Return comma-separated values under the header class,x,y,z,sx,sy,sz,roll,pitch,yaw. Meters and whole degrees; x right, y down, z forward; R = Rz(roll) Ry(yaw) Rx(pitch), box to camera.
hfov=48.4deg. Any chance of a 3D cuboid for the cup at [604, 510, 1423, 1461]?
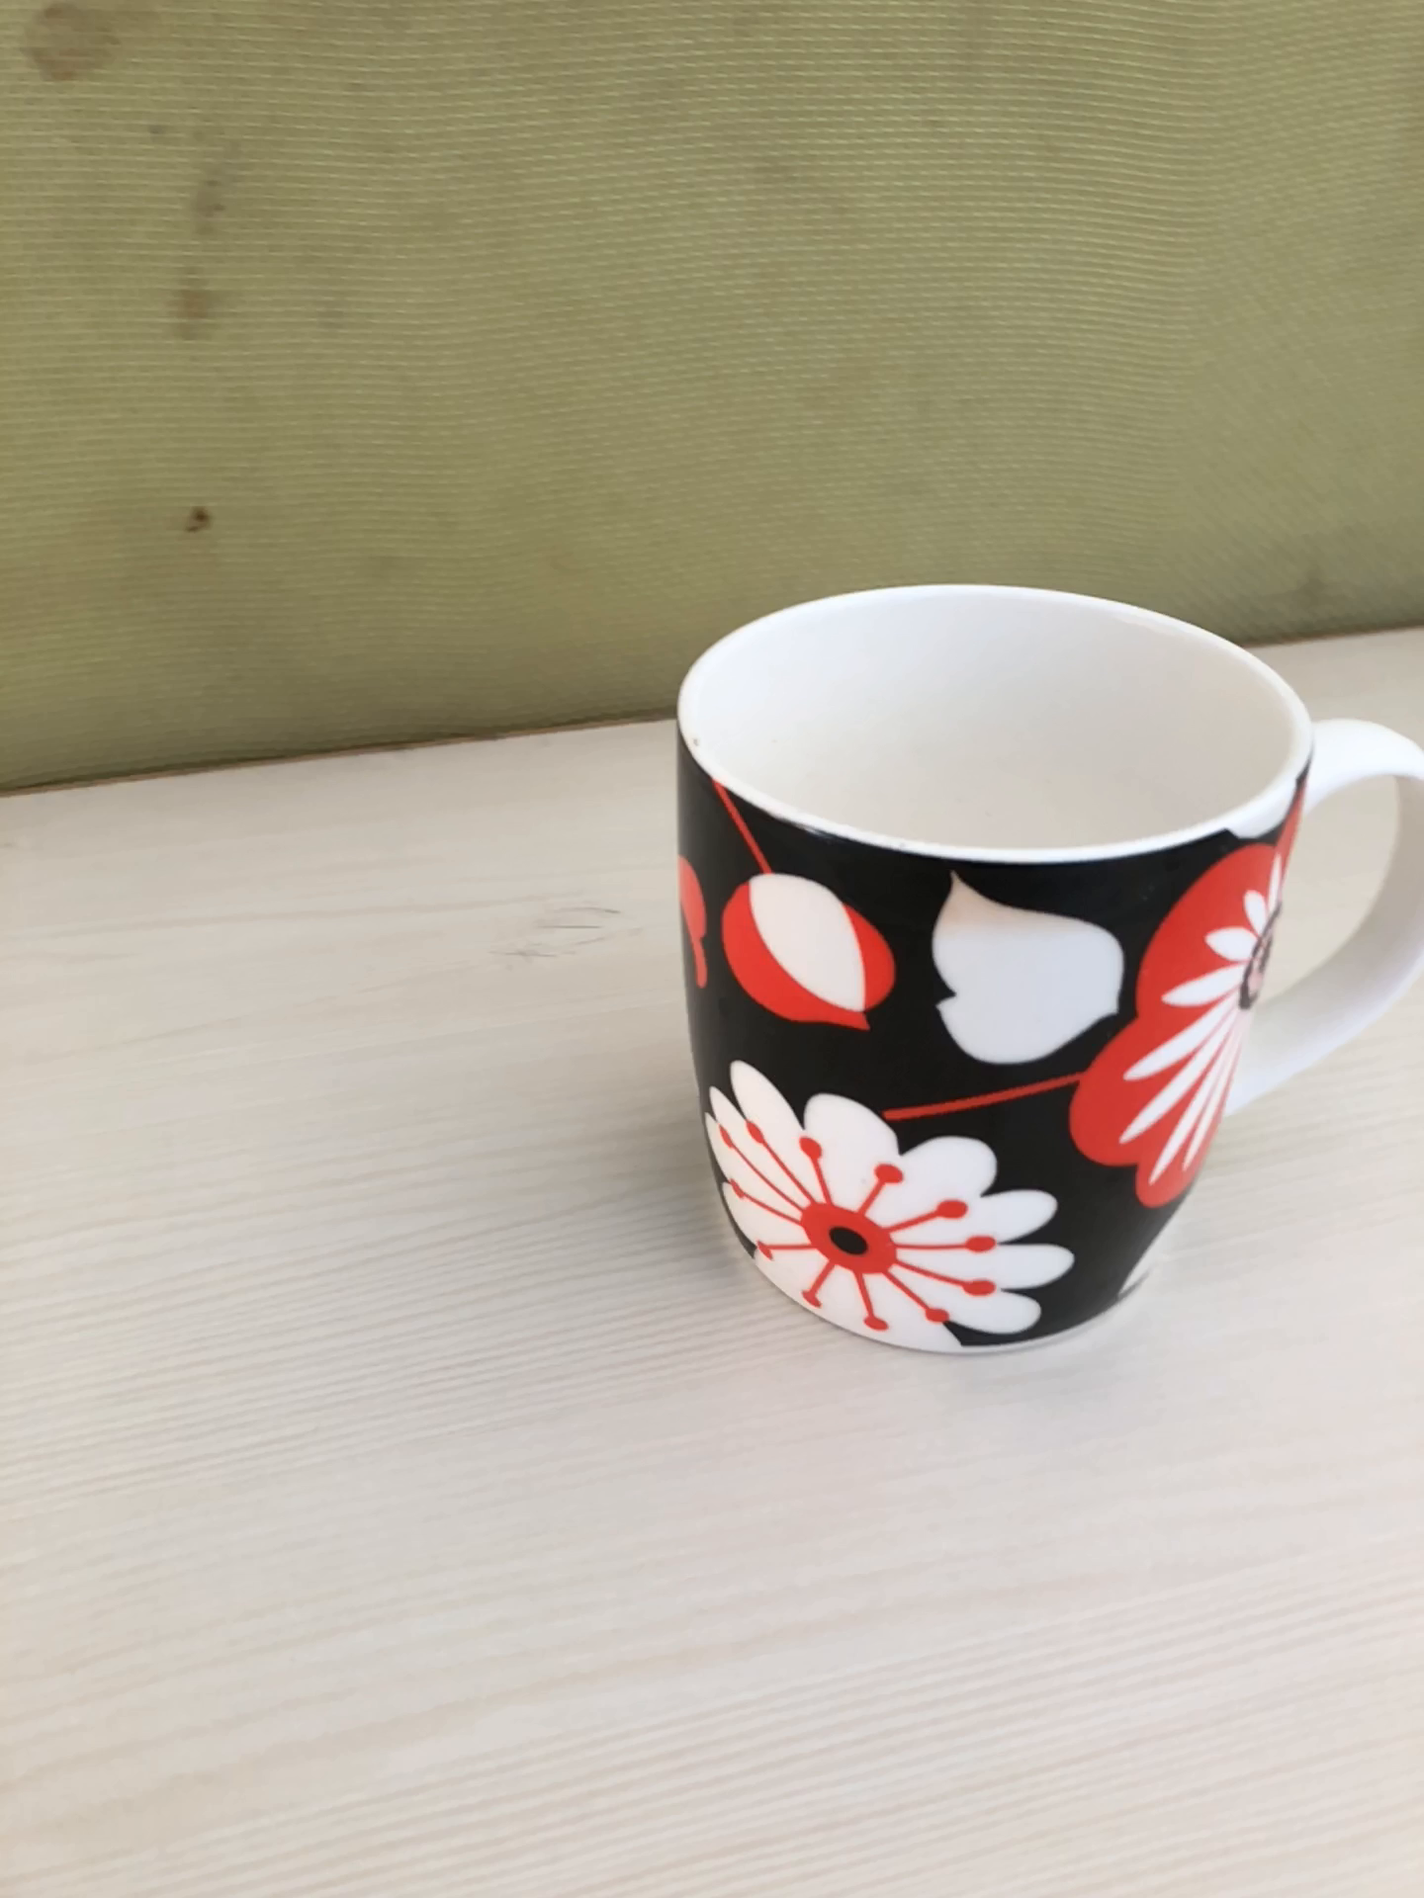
class,x,y,z,sx,sy,sz,roll,pitch,yaw
cup,0.057,-0.004,0.246,0.120,0.089,0.090,-13,34,-19
